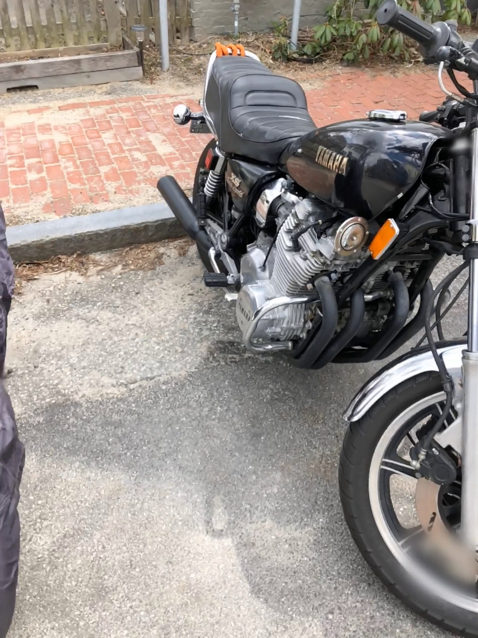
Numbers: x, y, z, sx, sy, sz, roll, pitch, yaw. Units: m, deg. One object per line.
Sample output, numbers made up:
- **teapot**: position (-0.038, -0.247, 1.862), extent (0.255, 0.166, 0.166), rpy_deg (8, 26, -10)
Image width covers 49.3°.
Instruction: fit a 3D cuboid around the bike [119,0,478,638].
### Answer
- **bike**: position (0.367, -0.257, 1.527), extent (0.710, 1.157, 1.975), rpy_deg (-16, 43, -23)
